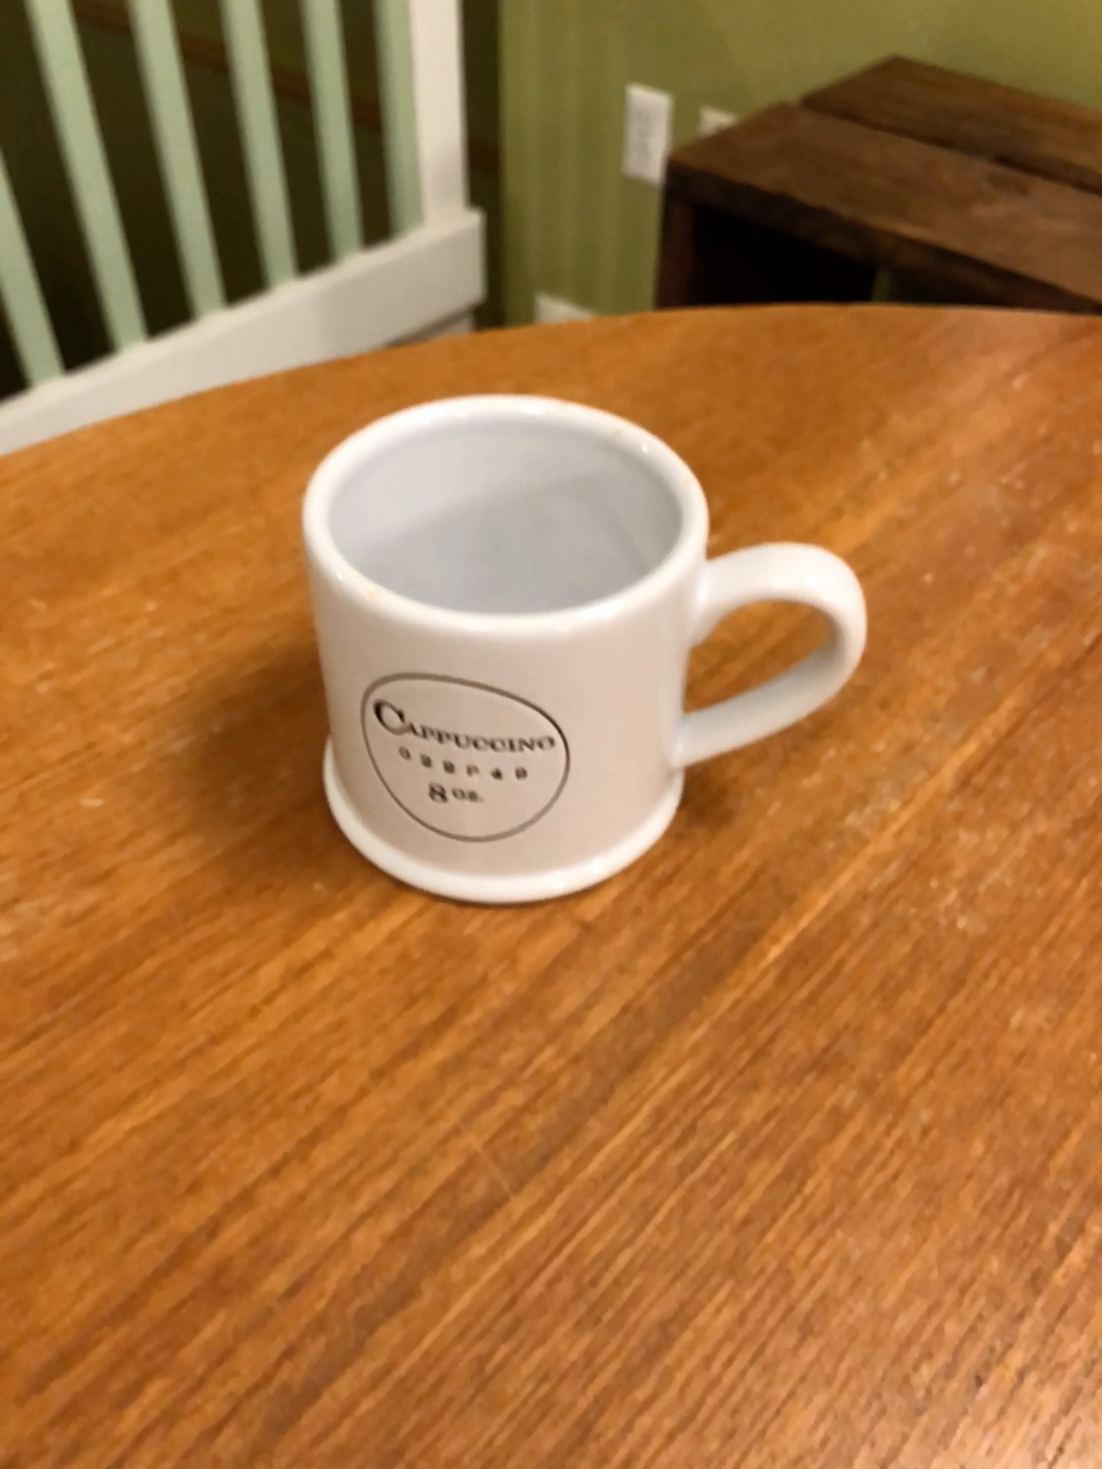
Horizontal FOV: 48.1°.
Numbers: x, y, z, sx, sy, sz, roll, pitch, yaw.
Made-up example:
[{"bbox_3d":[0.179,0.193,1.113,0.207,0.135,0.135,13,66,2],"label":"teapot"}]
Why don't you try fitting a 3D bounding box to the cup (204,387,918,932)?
[{"bbox_3d":[0.004,-0.019,0.294,0.135,0.082,0.090,4,45,3],"label":"cup"}]
